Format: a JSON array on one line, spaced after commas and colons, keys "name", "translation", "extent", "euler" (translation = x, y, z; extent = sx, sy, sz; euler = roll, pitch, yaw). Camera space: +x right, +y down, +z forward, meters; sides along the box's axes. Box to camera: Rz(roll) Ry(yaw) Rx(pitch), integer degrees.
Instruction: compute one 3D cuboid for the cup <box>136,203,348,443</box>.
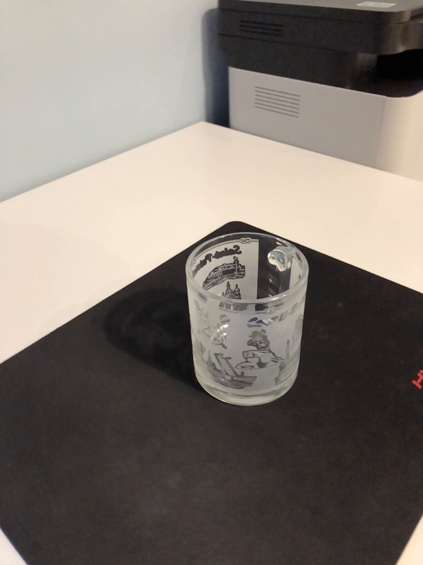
[{"name": "cup", "translation": [0.024, 0.024, 0.349], "extent": [0.090, 0.106, 0.117], "euler": [28, 47, 34]}]
